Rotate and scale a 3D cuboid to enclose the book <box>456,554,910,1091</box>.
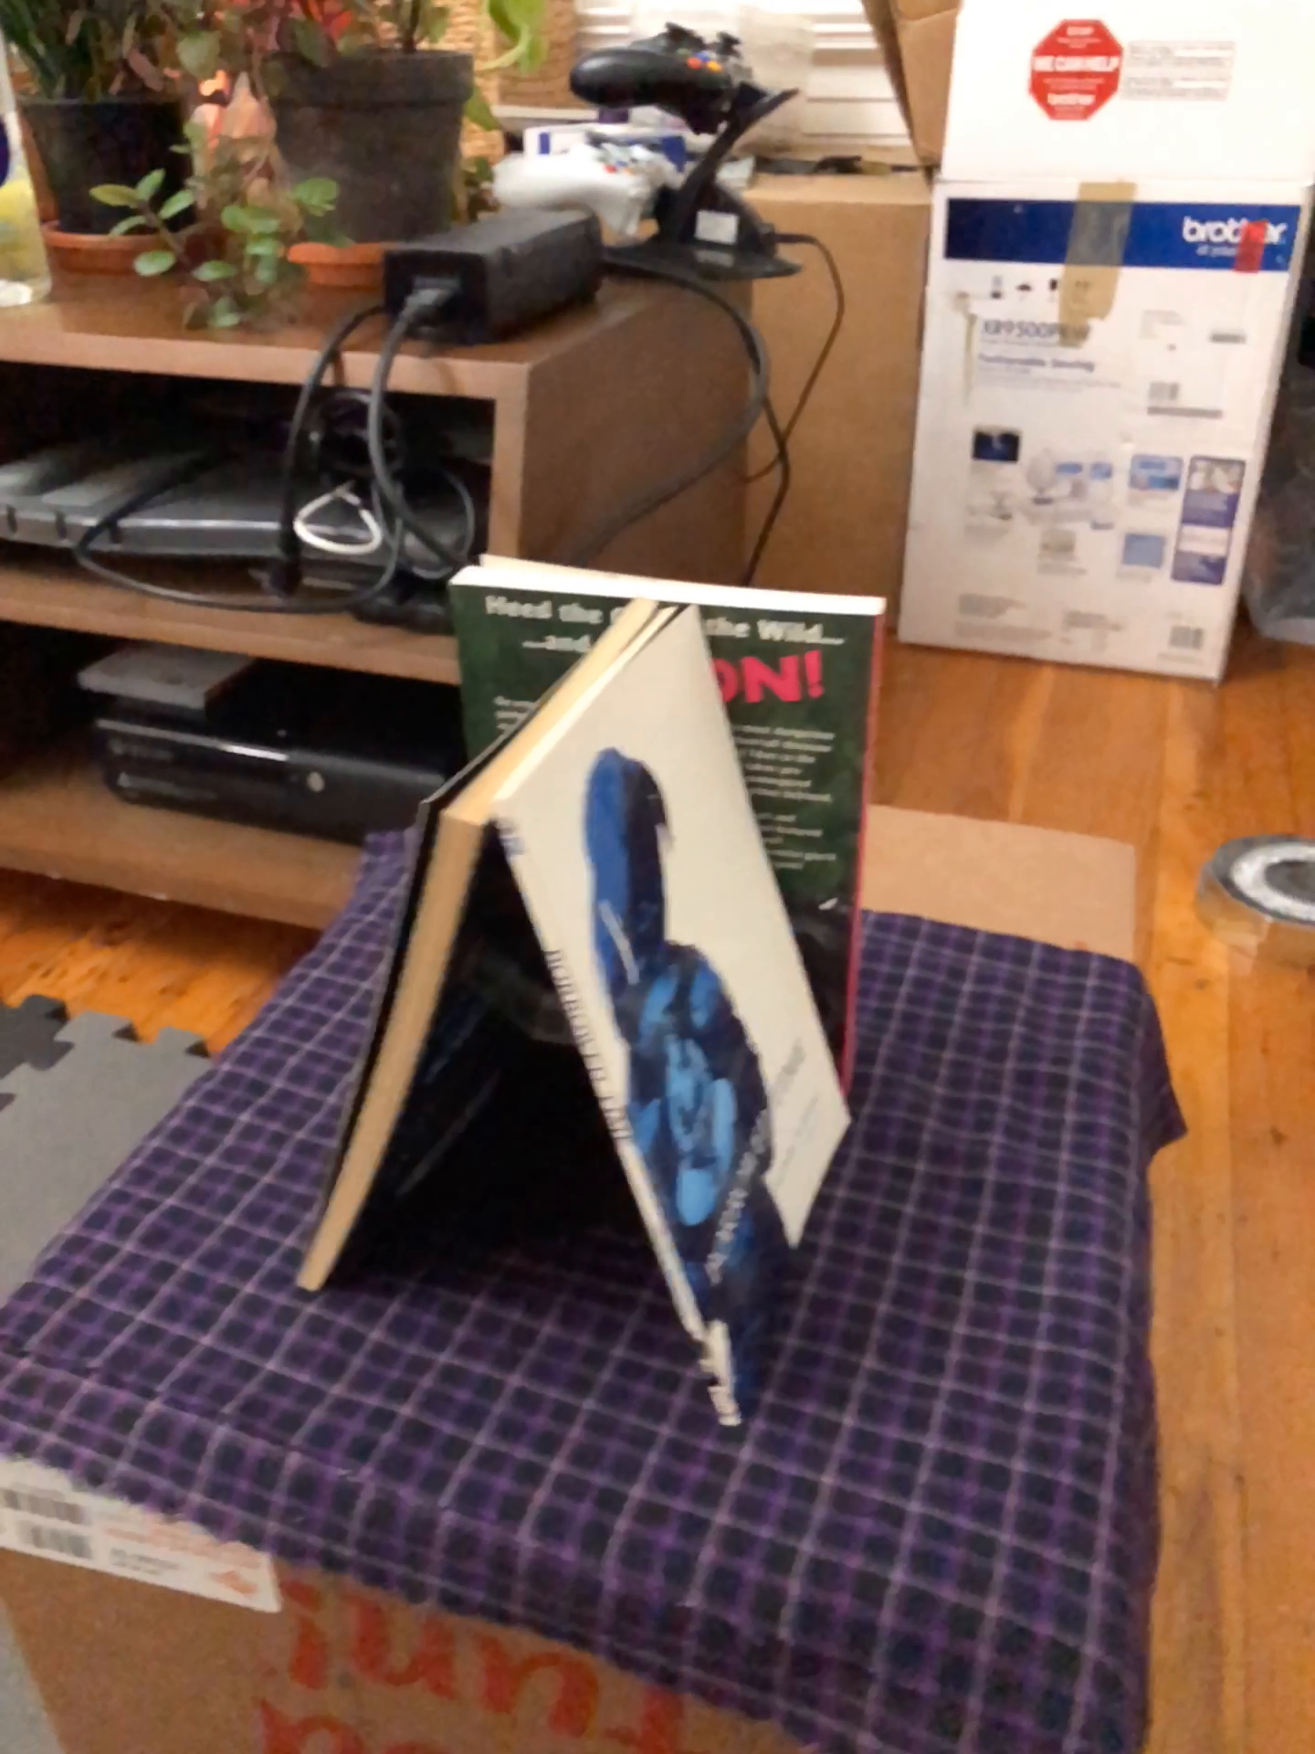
[{"bbox_3d":[0.009,-0.013,0.505,0.140,0.189,0.020,9,38,14],"label":"book"}]

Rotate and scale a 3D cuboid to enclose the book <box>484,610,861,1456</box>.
[{"bbox_3d":[0.016,0.040,0.424,0.010,0.199,0.141,-8,24,24],"label":"book"}]

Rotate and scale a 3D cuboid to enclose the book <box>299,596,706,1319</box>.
[{"bbox_3d":[-0.048,0.025,0.454,0.010,0.199,0.151,28,37,6],"label":"book"}]
